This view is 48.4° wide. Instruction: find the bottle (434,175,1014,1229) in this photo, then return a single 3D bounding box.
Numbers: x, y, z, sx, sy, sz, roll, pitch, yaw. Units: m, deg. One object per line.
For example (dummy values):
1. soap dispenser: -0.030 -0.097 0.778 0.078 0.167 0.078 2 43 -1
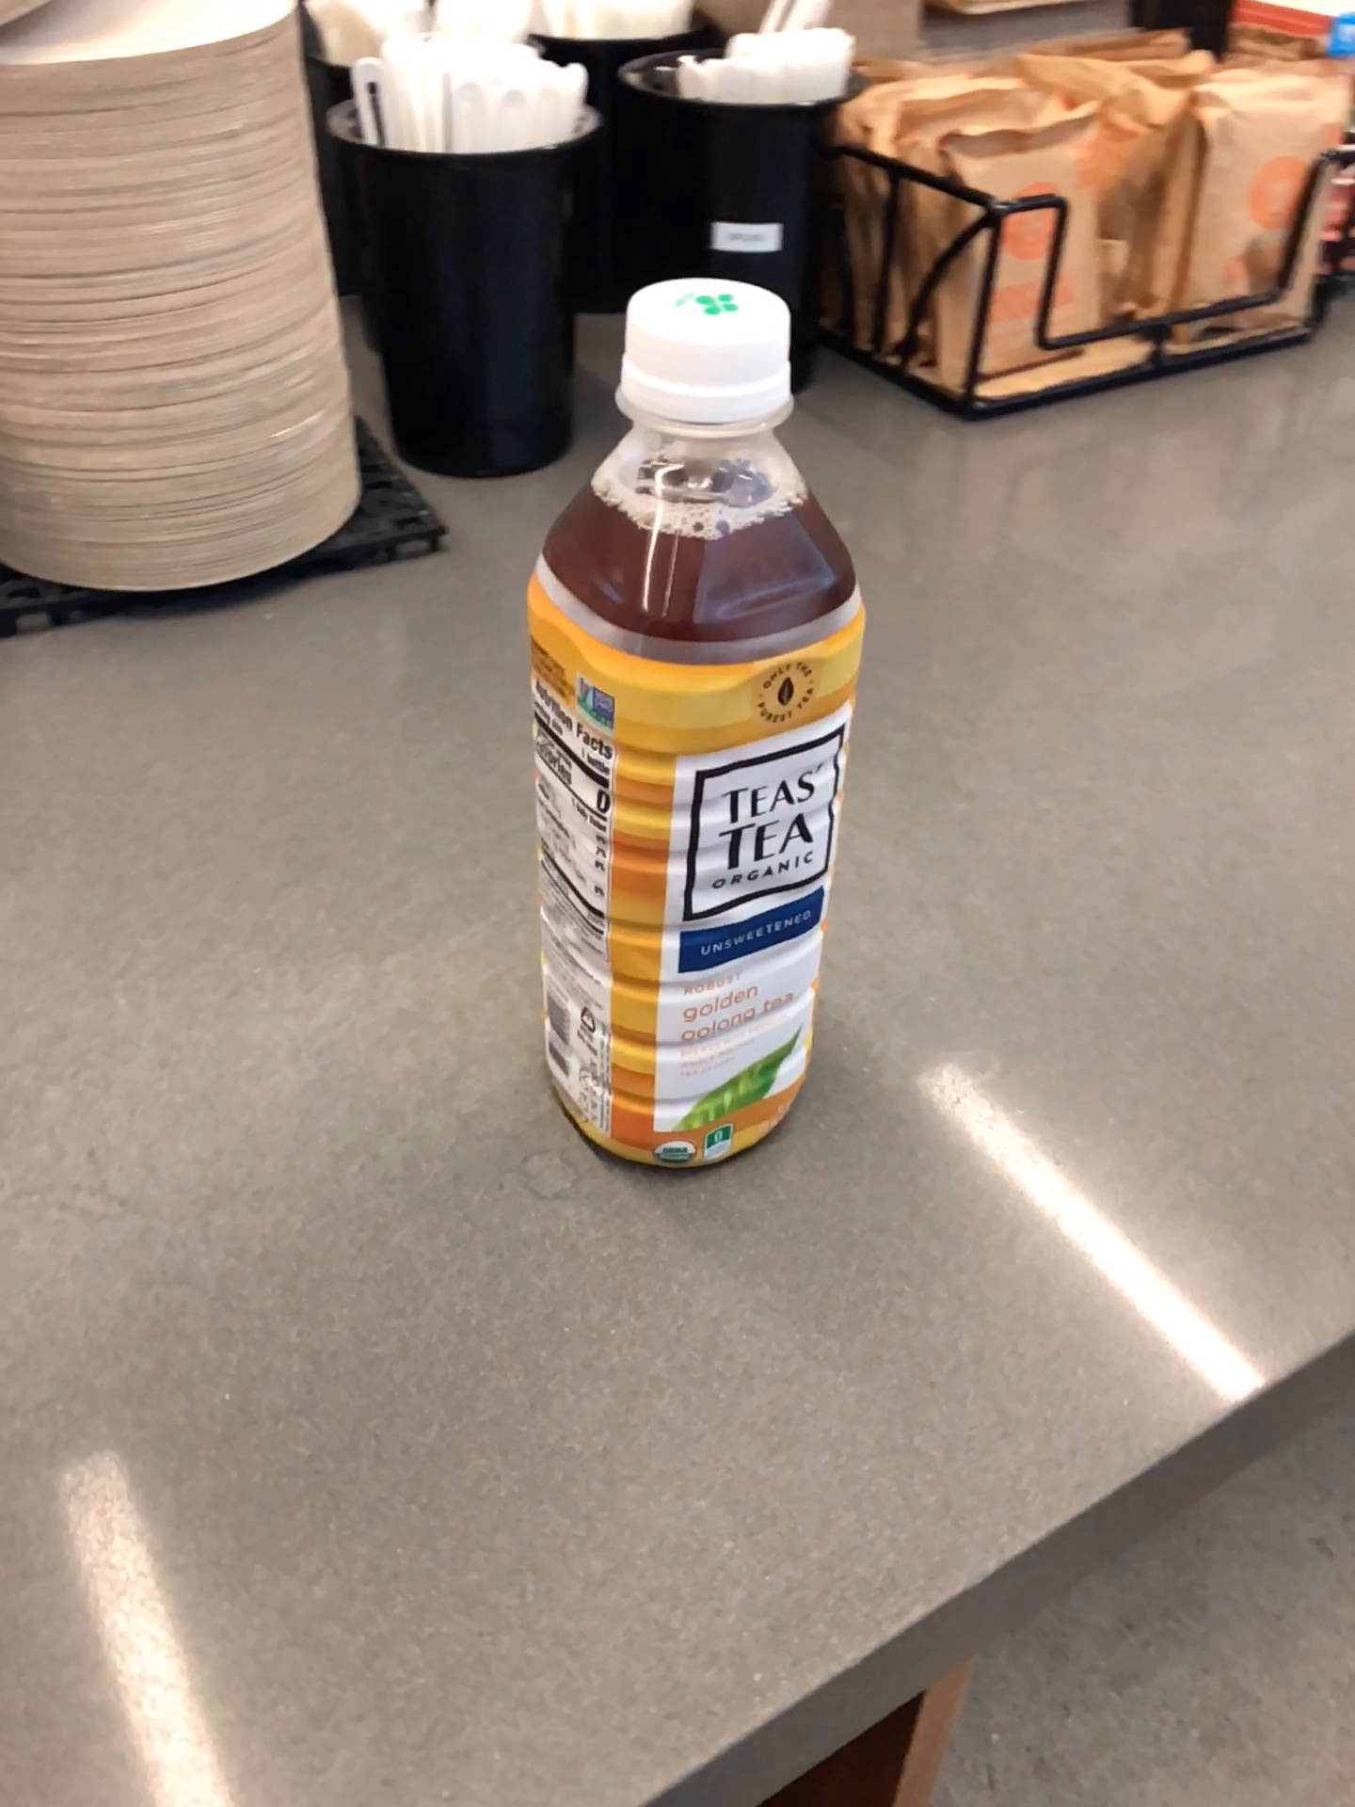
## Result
1. bottle: 0.004 -0.034 0.318 0.070 0.199 0.070 1 40 -1
